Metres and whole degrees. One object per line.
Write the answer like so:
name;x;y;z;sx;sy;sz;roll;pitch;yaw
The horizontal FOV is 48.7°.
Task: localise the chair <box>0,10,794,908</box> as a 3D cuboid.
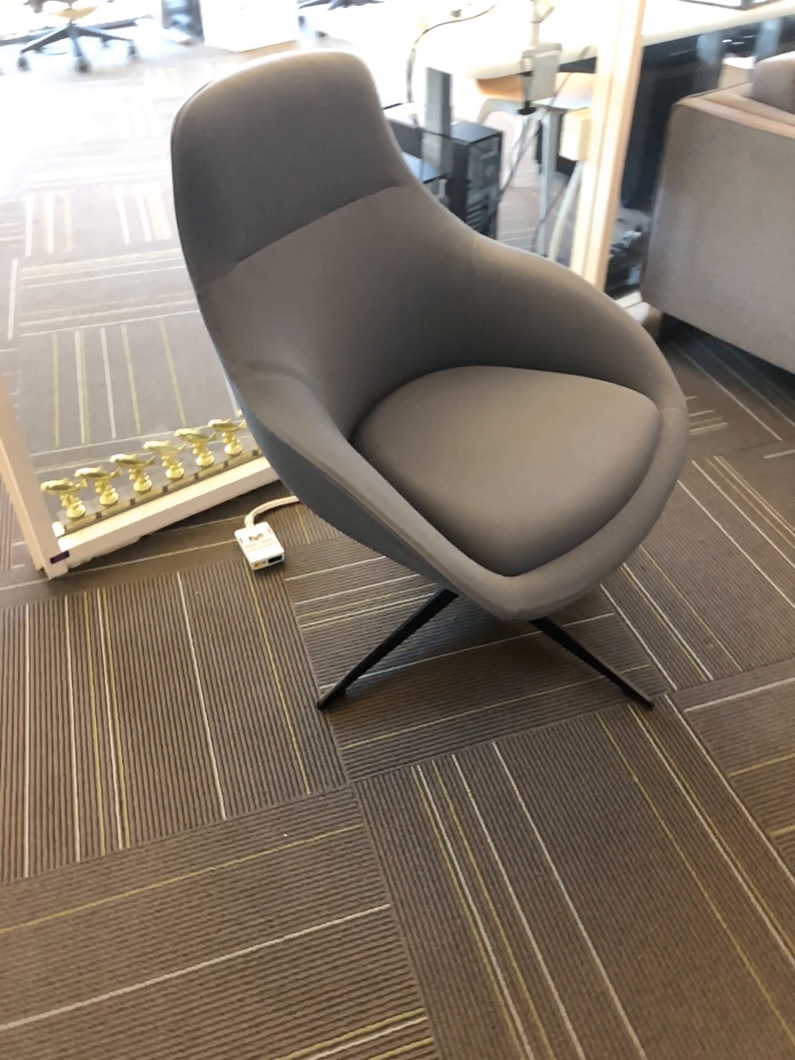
chair;0.120;-0.220;1.556;0.962;0.995;0.933;26;47;27
